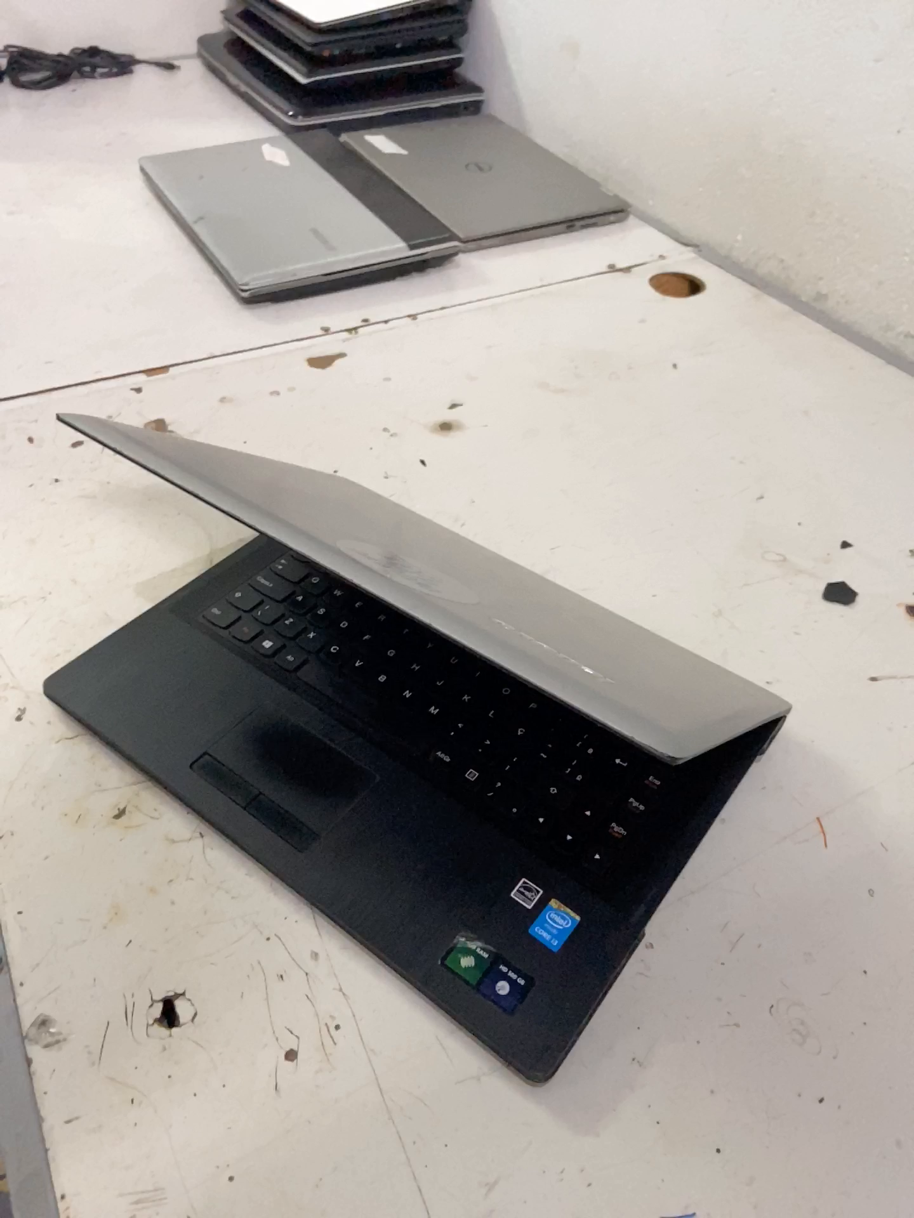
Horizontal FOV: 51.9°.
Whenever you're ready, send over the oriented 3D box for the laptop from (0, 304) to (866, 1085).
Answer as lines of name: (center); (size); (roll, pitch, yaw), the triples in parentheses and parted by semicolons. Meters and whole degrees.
laptop: (-0.025, 0.004, 0.487); (0.344, 0.148, 0.246); (29, 50, 26)
